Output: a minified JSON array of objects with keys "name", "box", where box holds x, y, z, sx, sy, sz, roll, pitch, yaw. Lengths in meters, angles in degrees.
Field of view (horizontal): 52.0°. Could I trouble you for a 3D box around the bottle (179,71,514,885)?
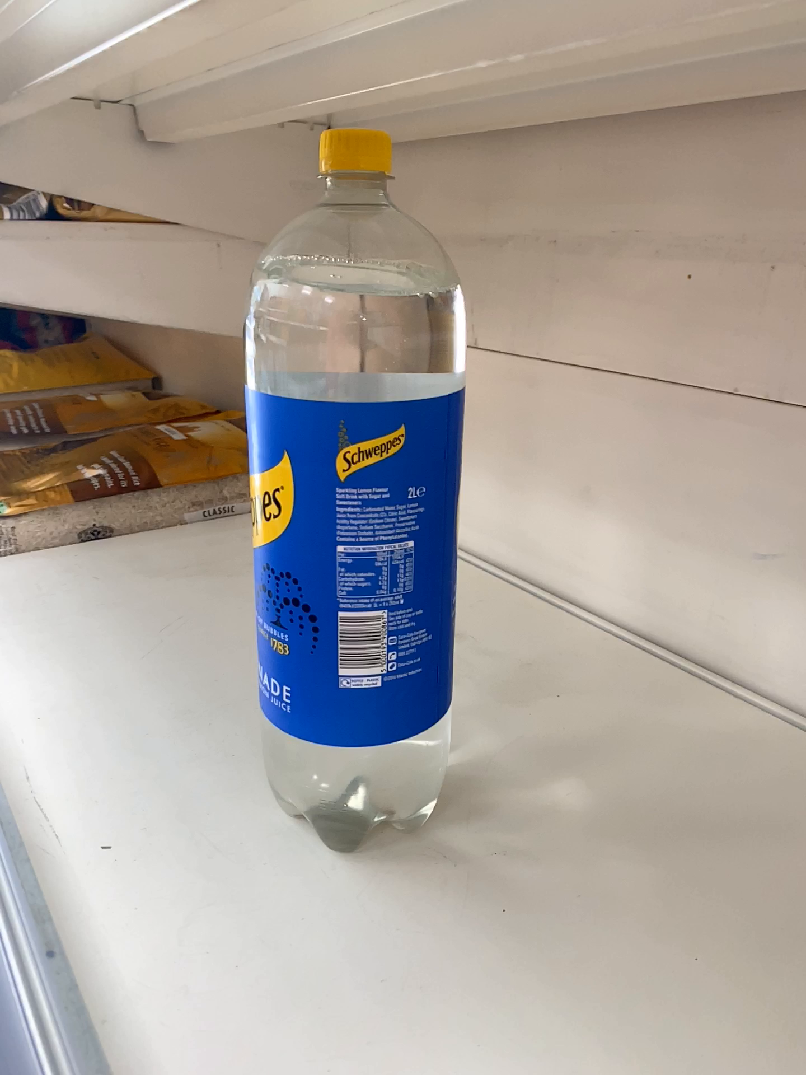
[{"name":"bottle","box":[-0.023,-0.017,0.378,0.110,0.328,0.111,0,19,0]}]
